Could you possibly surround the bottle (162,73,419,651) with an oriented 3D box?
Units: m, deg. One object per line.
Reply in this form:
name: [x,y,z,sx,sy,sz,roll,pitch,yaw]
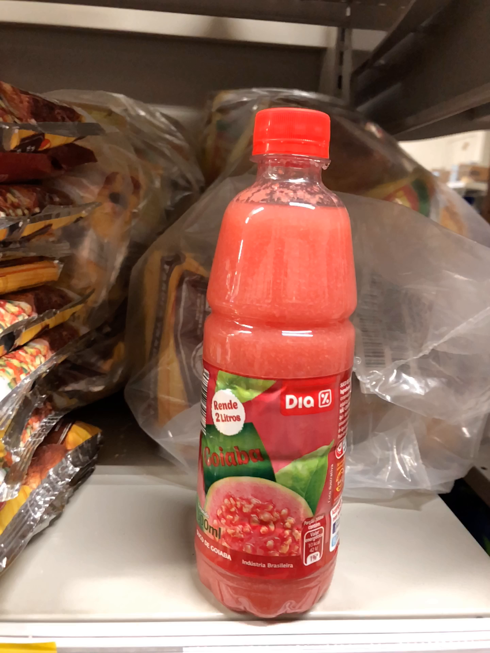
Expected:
bottle: [0.017,0.013,0.248,0.070,0.219,0.070,4,12,-1]
